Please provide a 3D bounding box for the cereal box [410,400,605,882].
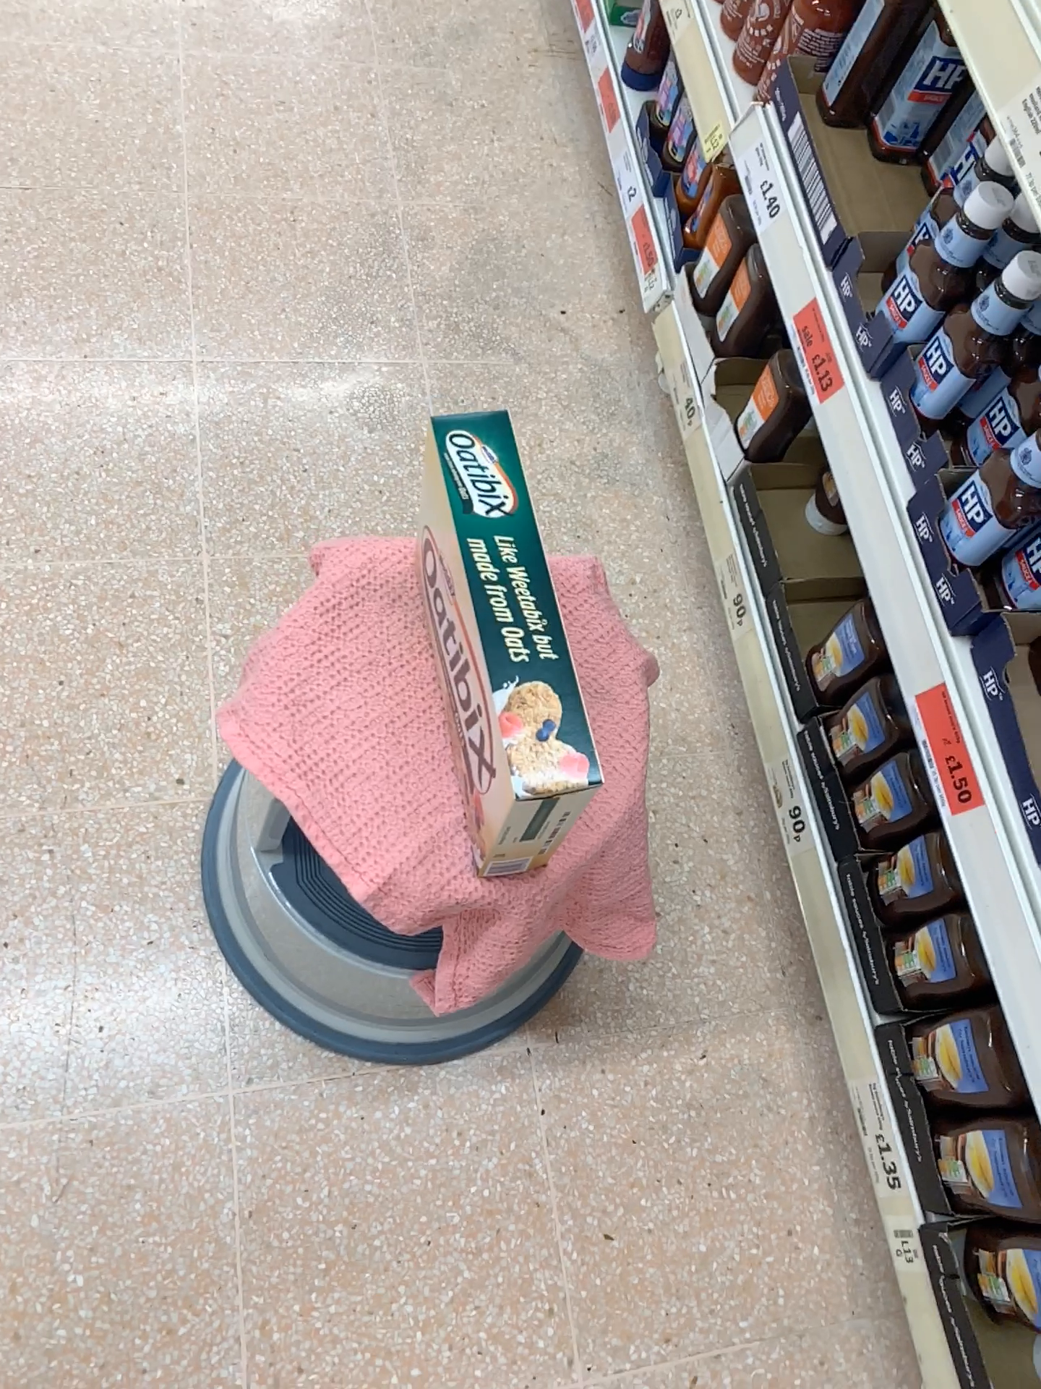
[{"bbox_3d":[-0.021,-0.030,0.728,0.060,0.189,0.271,-7,68,-12],"label":"cereal box"}]
